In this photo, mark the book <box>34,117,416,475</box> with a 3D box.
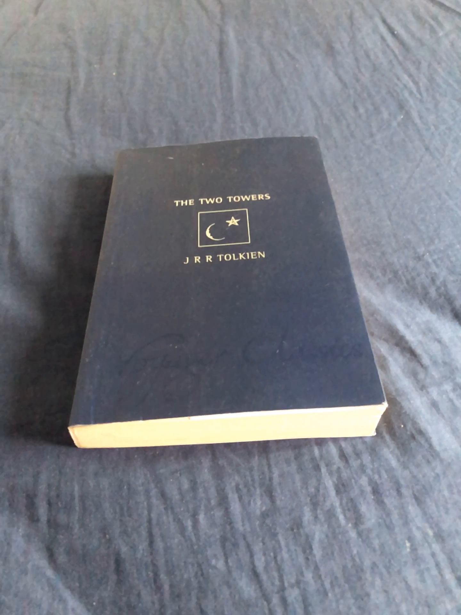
[{"bbox_3d":[-0.008,-0.021,0.271,0.140,0.060,0.191,-3,50,-3],"label":"book"}]
